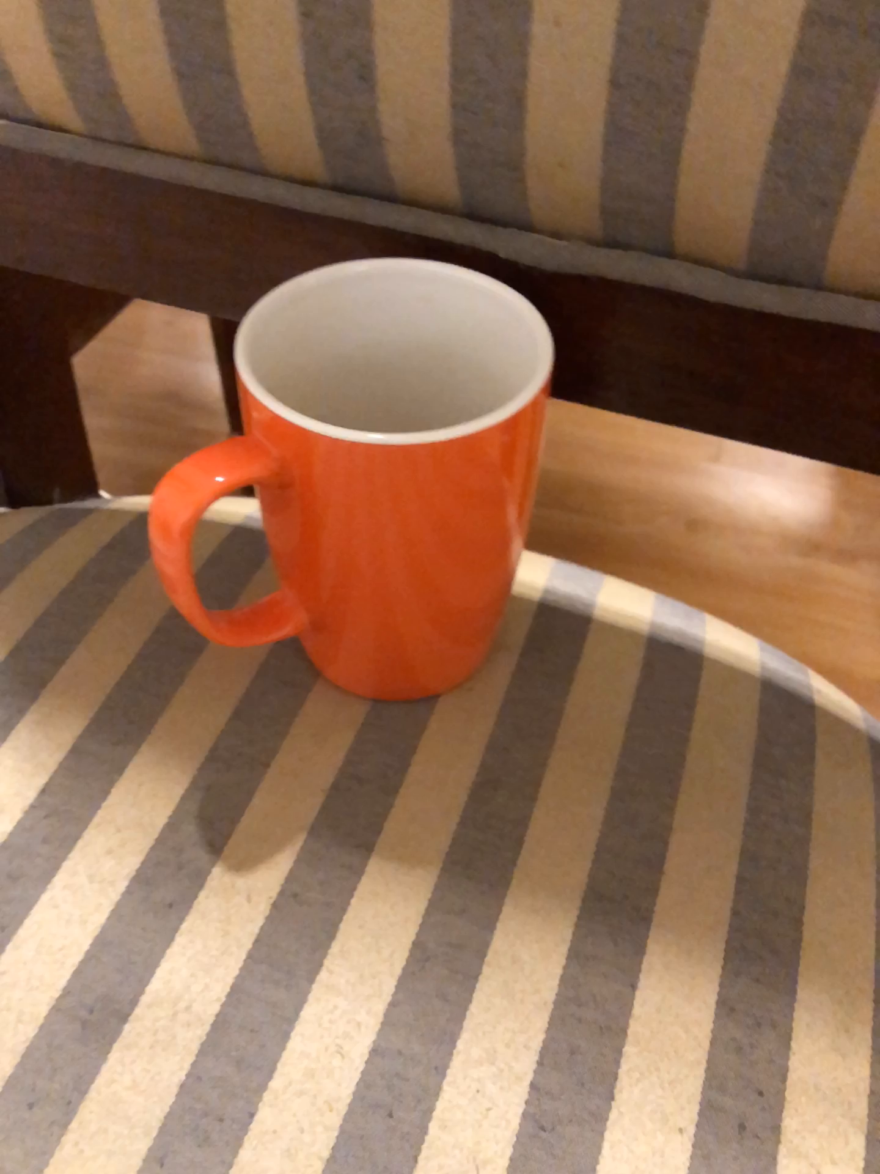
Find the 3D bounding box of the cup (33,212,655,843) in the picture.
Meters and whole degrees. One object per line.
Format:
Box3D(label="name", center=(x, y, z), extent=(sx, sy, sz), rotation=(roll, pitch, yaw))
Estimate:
Box3D(label="cup", center=(-0.021, -0.021, 0.273), extent=(0.090, 0.099, 0.120), rotation=(36, 56, 27))
